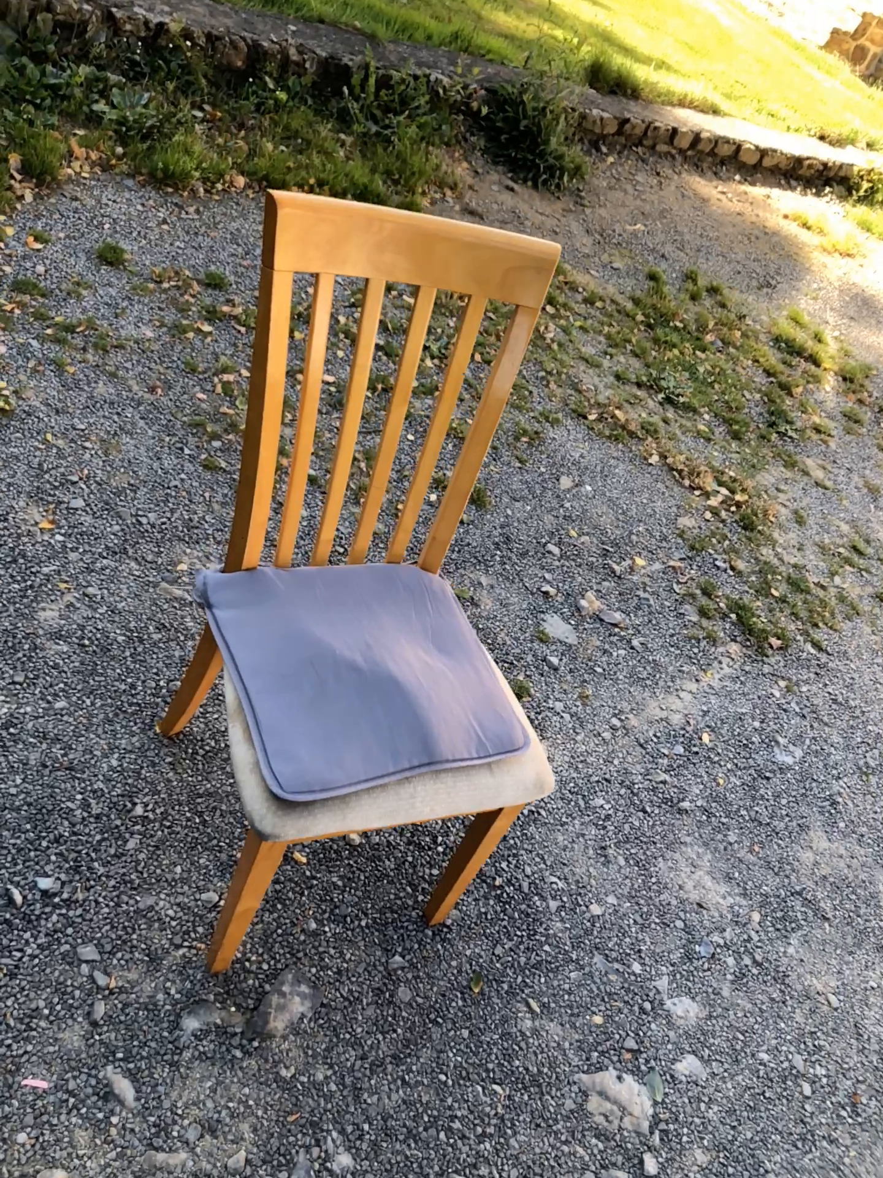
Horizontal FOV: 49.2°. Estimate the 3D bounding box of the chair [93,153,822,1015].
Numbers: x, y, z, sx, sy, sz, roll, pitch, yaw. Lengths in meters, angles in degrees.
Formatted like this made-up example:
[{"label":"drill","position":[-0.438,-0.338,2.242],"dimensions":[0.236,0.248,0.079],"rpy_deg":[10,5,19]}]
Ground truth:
[{"label":"chair","position":[-0.108,0.052,1.391],"dimensions":[0.512,0.993,0.612],"rpy_deg":[-2,49,-33]}]
